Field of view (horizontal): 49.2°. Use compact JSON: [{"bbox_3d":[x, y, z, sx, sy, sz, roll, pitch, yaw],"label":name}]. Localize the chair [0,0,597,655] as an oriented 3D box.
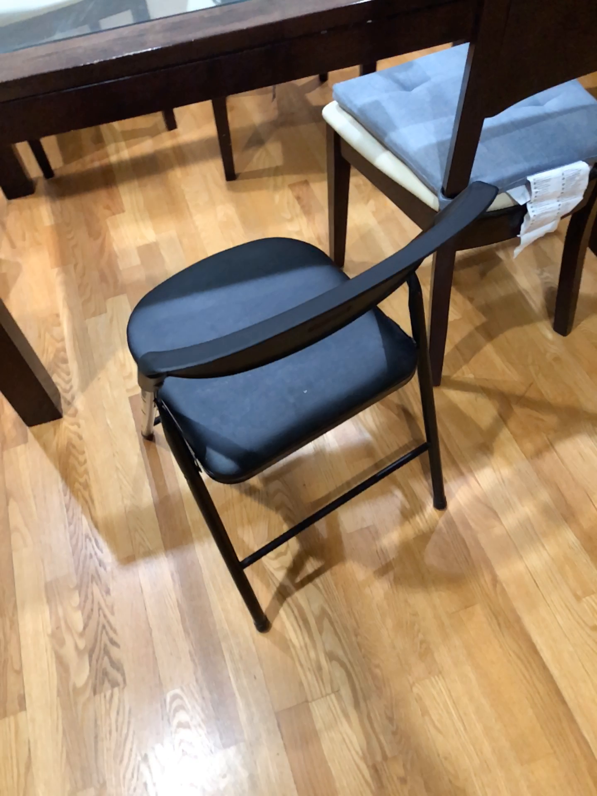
[{"bbox_3d":[-0.015,-0.067,0.999,0.521,0.697,0.522,-29,58,-15],"label":"chair"}]
